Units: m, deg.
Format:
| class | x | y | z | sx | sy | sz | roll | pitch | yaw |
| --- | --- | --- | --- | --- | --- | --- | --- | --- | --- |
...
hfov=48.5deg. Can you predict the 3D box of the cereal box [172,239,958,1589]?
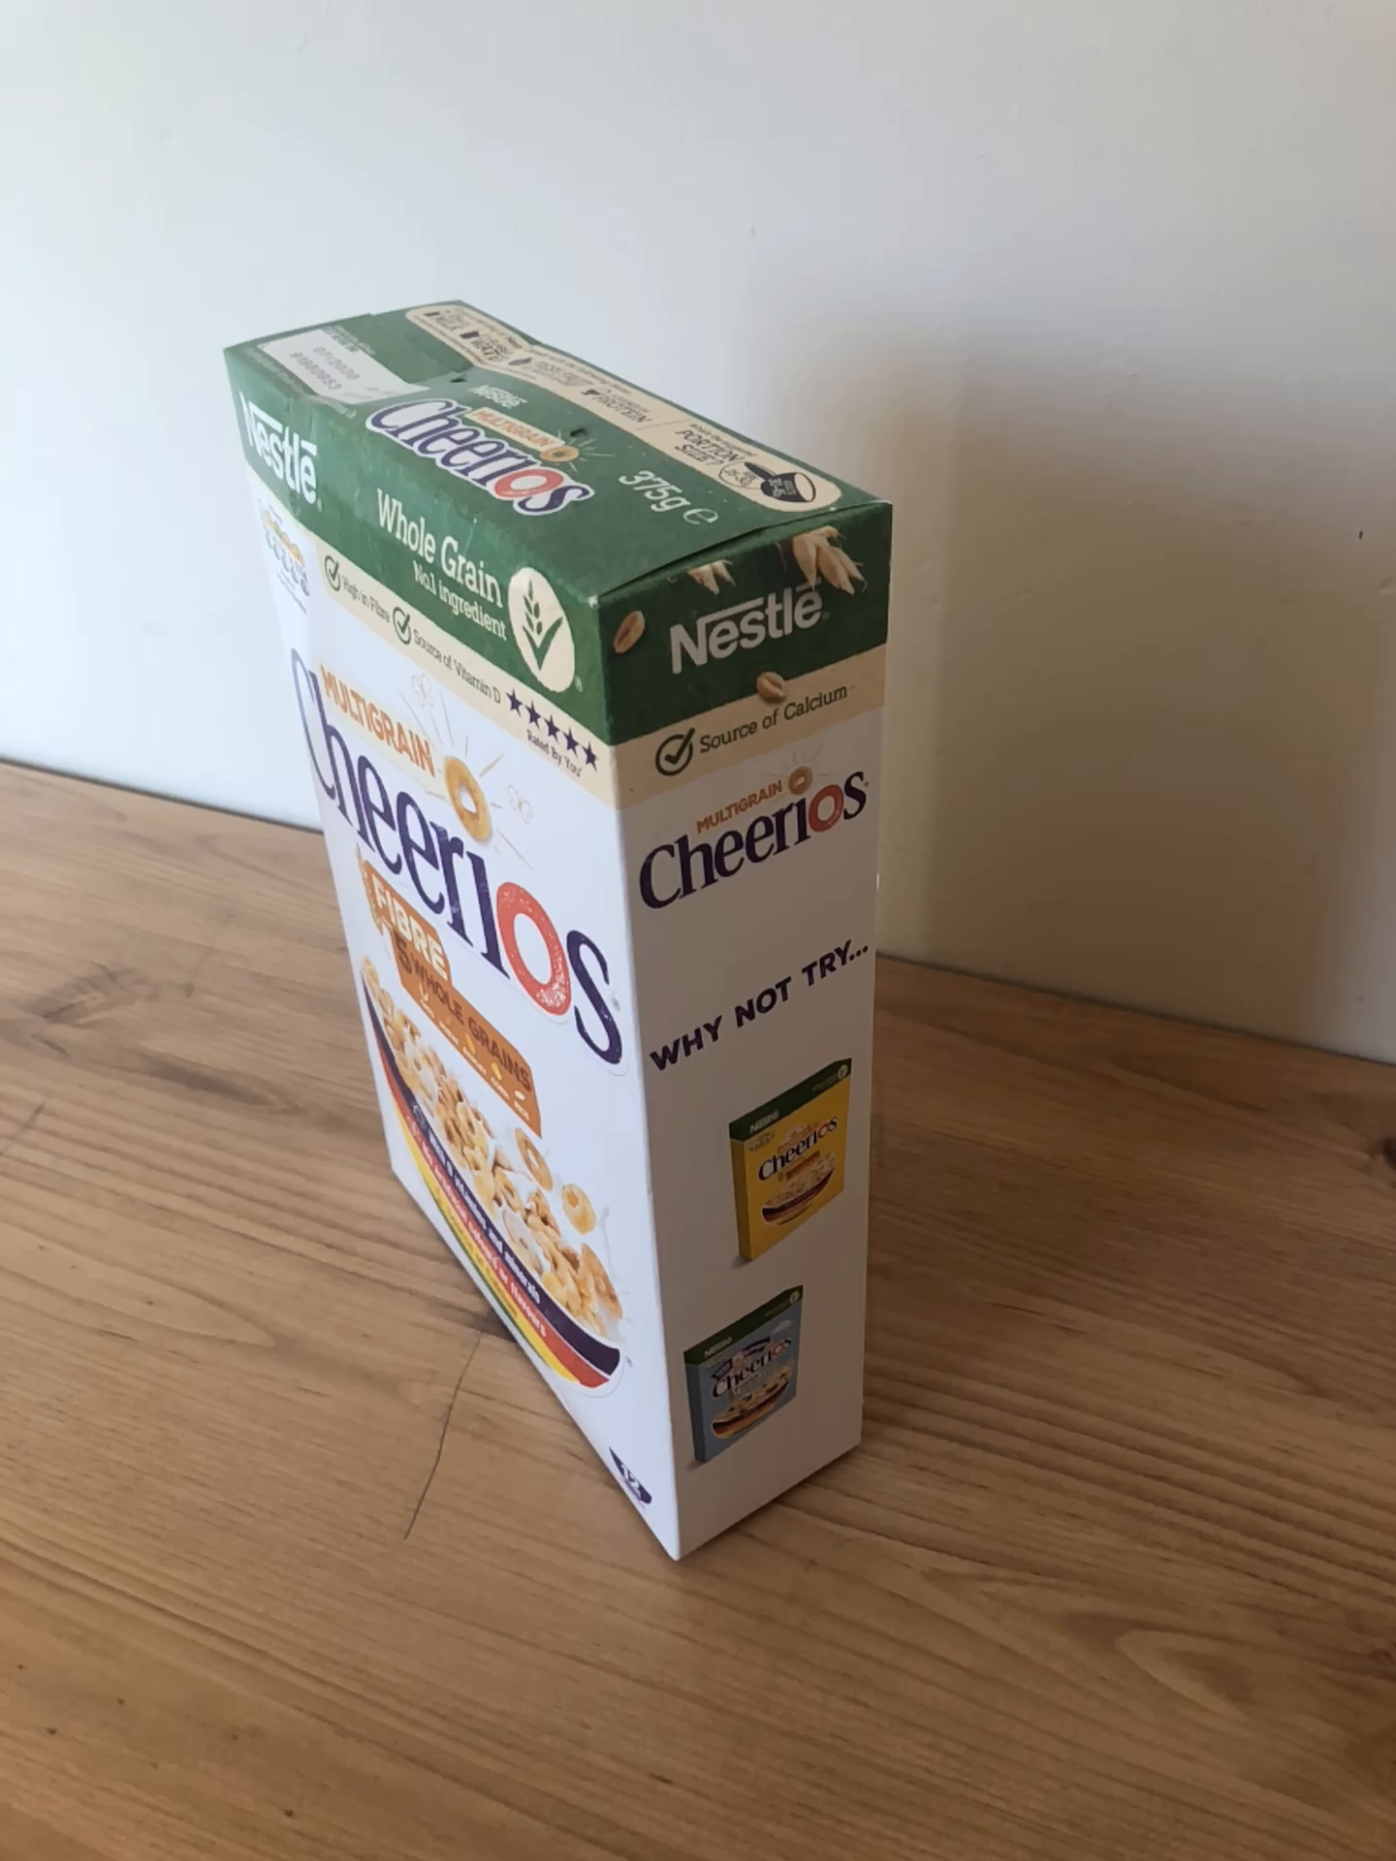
| class | x | y | z | sx | sy | sz | roll | pitch | yaw |
| --- | --- | --- | --- | --- | --- | --- | --- | --- | --- |
| cereal box | -0.038 | -0.004 | 0.434 | 0.080 | 0.308 | 0.211 | -23 | 41 | -25 |
